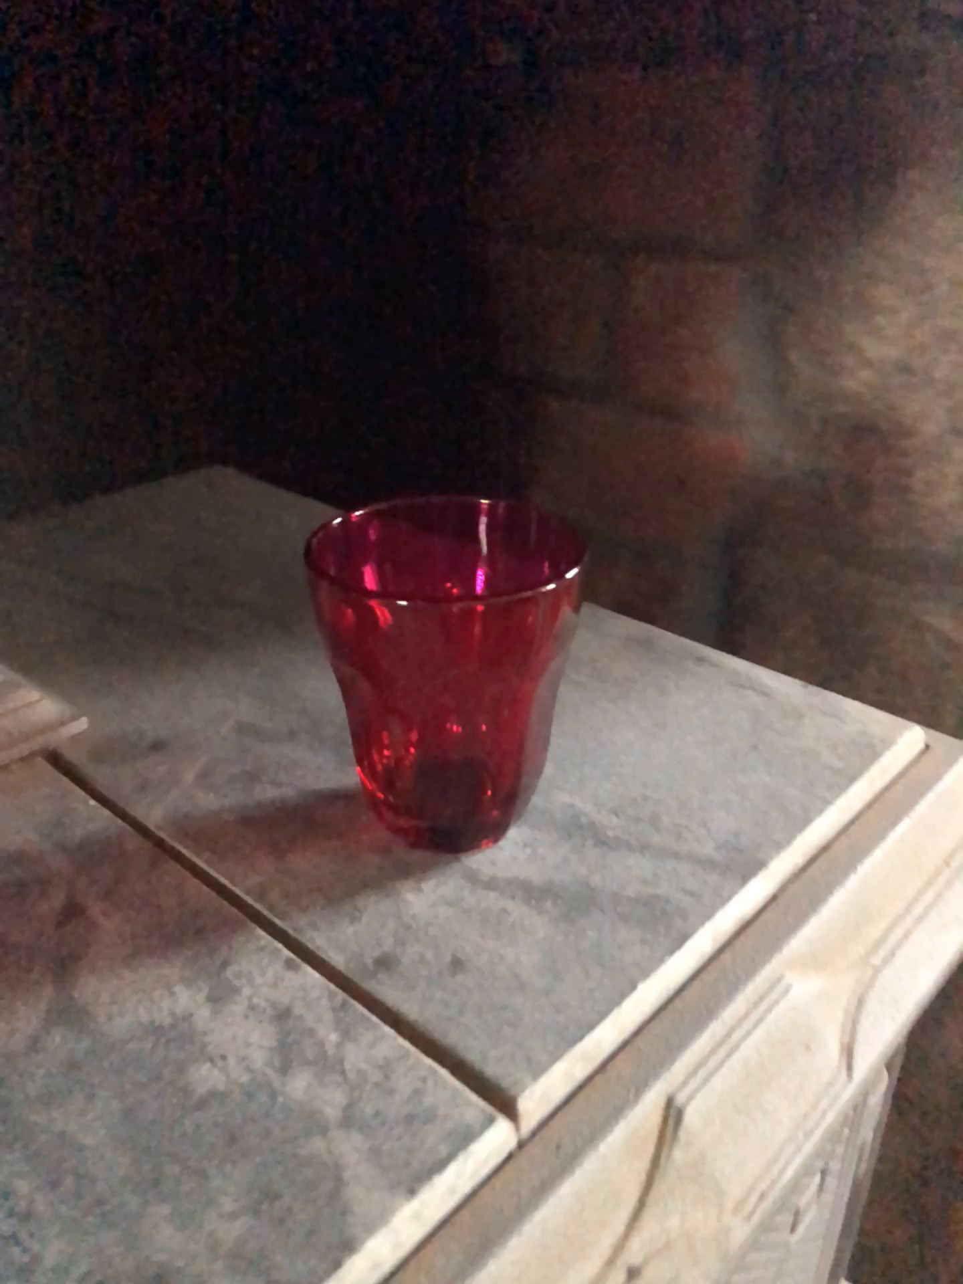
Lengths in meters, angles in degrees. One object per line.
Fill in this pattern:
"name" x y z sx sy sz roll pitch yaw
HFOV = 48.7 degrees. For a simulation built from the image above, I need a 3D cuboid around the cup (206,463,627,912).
"cup" -0.015 0.007 0.284 0.080 0.080 0.070 15 31 26
